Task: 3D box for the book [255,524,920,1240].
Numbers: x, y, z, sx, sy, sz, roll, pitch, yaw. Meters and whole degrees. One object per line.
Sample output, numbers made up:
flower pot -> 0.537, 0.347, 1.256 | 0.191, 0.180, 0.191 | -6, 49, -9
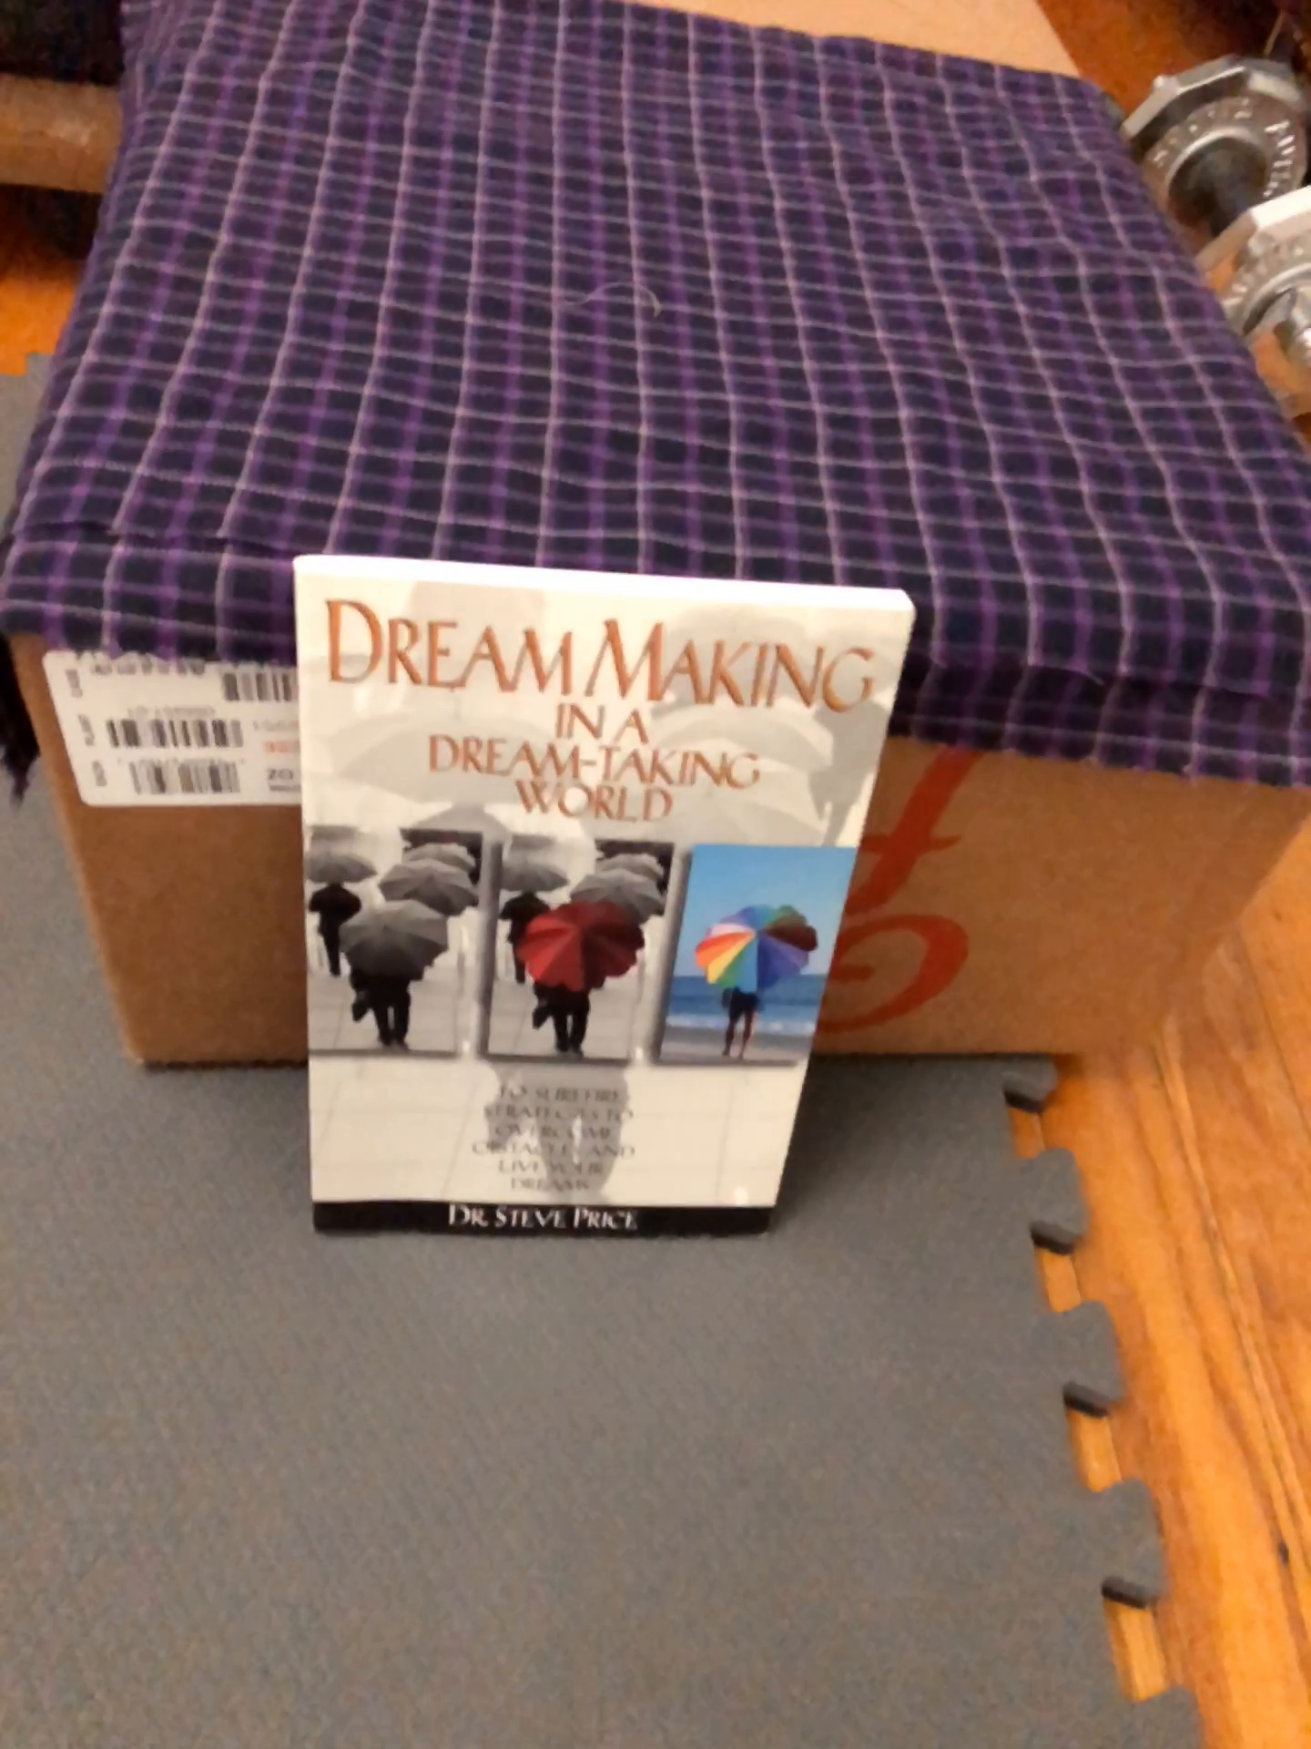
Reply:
book -> -0.025, 0.018, 0.393 | 0.150, 0.219, 0.020 | 3, 35, -6
